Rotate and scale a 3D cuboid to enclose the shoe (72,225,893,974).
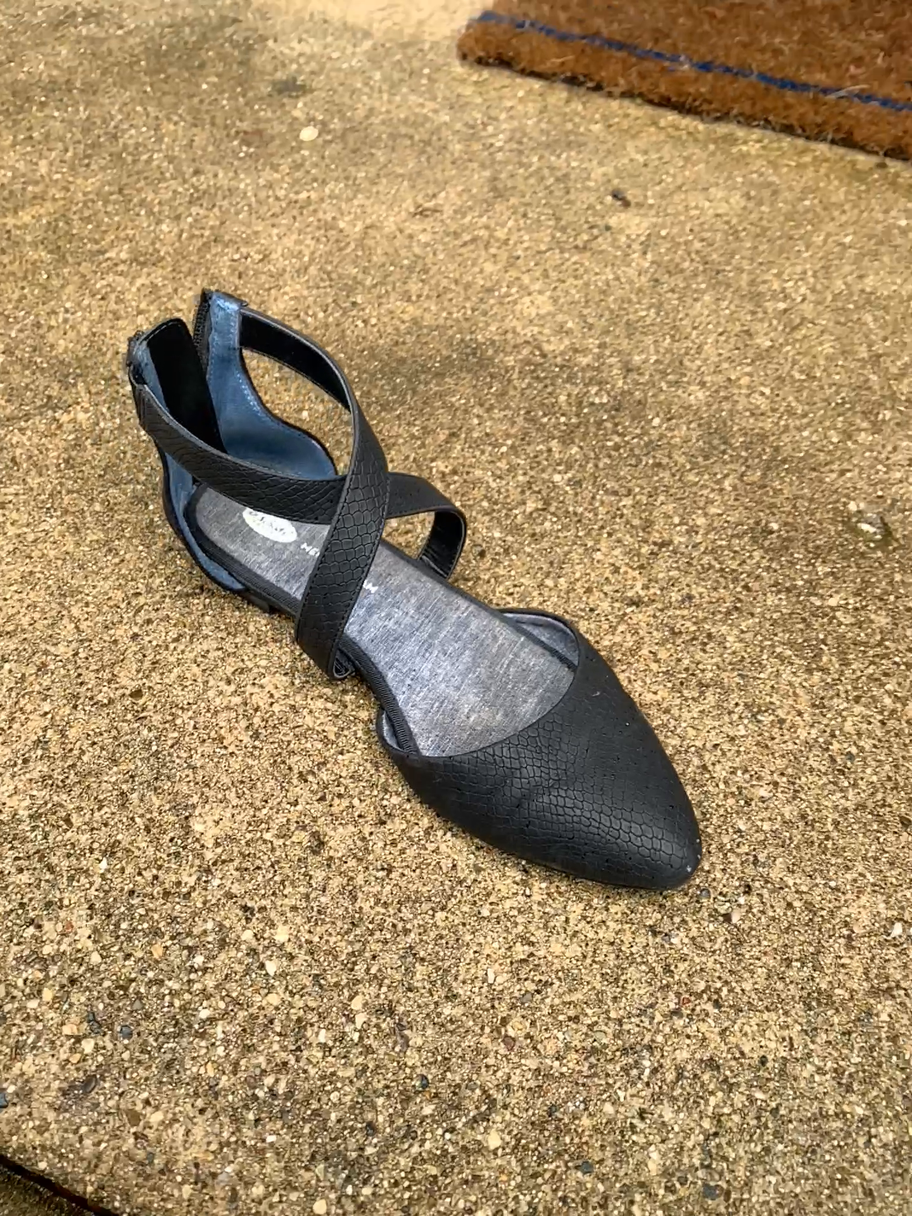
[{"bbox_3d":[-0.007,-0.014,0.341,0.263,0.113,0.097,38,59,23],"label":"shoe"}]
